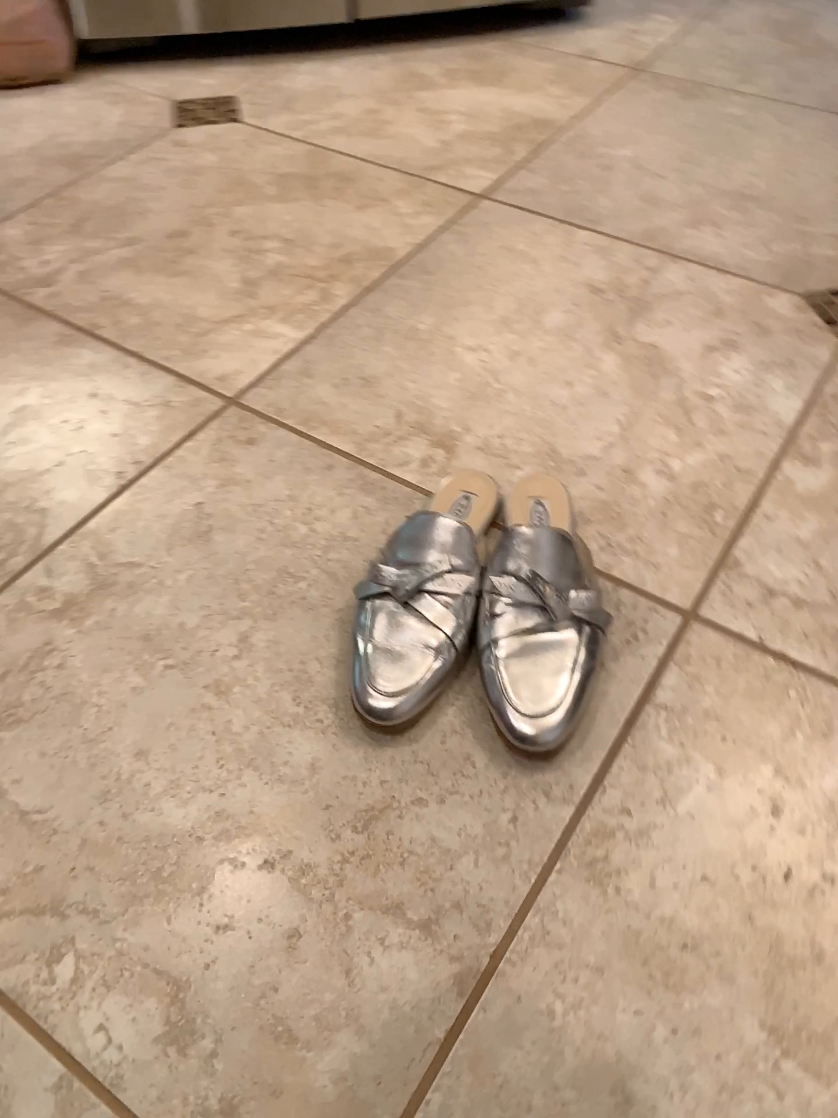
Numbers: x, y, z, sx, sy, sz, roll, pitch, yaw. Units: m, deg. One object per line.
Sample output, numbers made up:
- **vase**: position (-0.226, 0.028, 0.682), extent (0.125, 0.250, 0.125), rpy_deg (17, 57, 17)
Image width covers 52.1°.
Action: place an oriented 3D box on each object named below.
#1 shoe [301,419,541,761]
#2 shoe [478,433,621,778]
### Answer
- **shoe**: position (0.012, 0.012, 0.704), extent (0.102, 0.077, 0.278), rpy_deg (15, 52, 13)
- **shoe**: position (0.101, 0.024, 0.685), extent (0.091, 0.077, 0.281), rpy_deg (4, 50, 4)
